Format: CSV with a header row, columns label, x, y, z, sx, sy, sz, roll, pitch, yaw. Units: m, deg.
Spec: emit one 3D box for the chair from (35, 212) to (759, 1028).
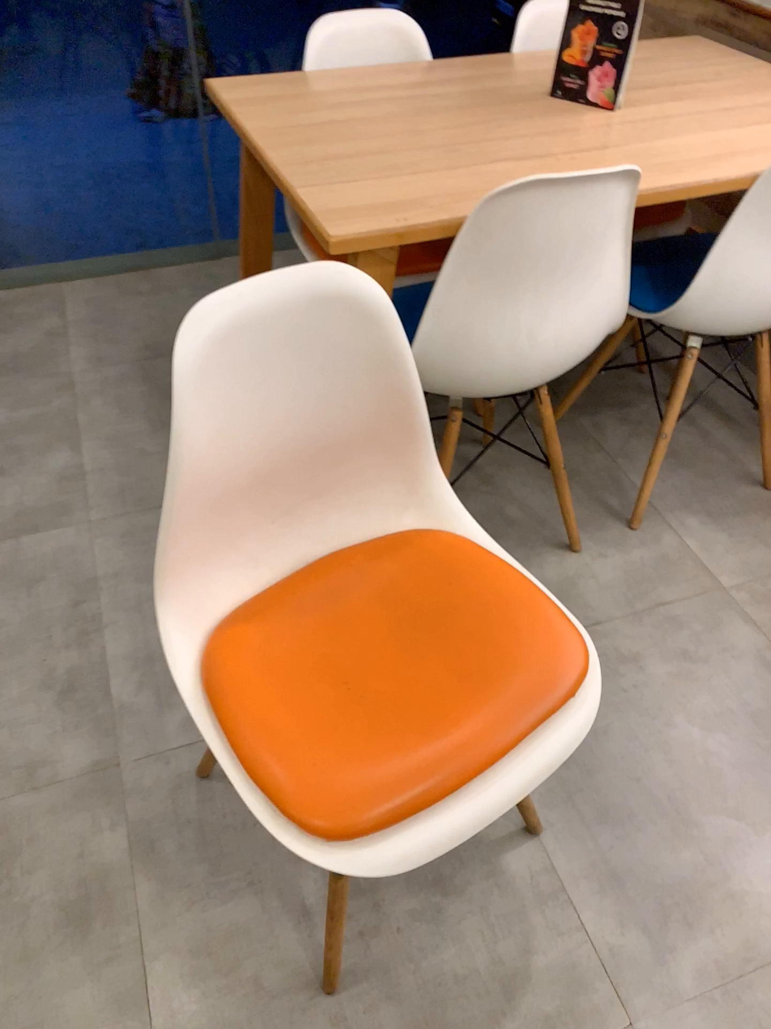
label,x,y,z,sx,sy,sz,roll,pitch,yaw
chair,-0.015,0.131,0.925,0.441,0.724,0.453,-25,49,-26
